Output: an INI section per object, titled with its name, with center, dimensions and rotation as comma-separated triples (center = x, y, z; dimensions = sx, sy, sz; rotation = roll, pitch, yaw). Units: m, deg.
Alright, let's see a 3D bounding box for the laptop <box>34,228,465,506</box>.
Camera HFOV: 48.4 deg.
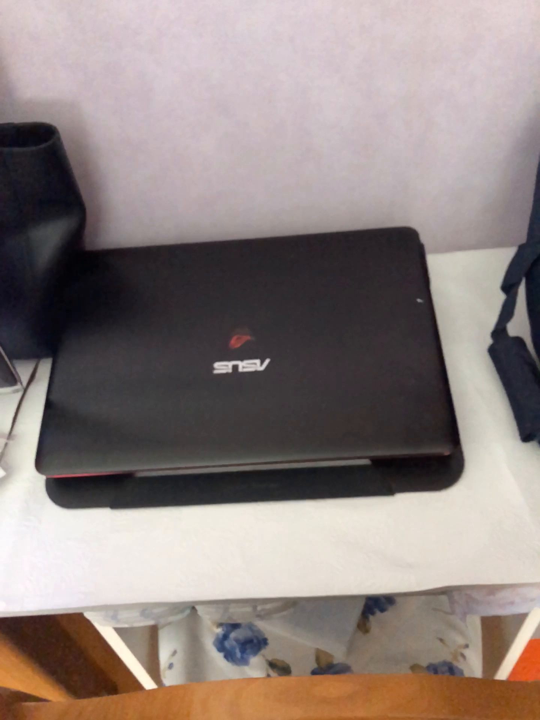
[laptop]
center = -0.028, 0.000, 0.637
dimensions = 0.394, 0.060, 0.267
rotation = -4, 58, 4
